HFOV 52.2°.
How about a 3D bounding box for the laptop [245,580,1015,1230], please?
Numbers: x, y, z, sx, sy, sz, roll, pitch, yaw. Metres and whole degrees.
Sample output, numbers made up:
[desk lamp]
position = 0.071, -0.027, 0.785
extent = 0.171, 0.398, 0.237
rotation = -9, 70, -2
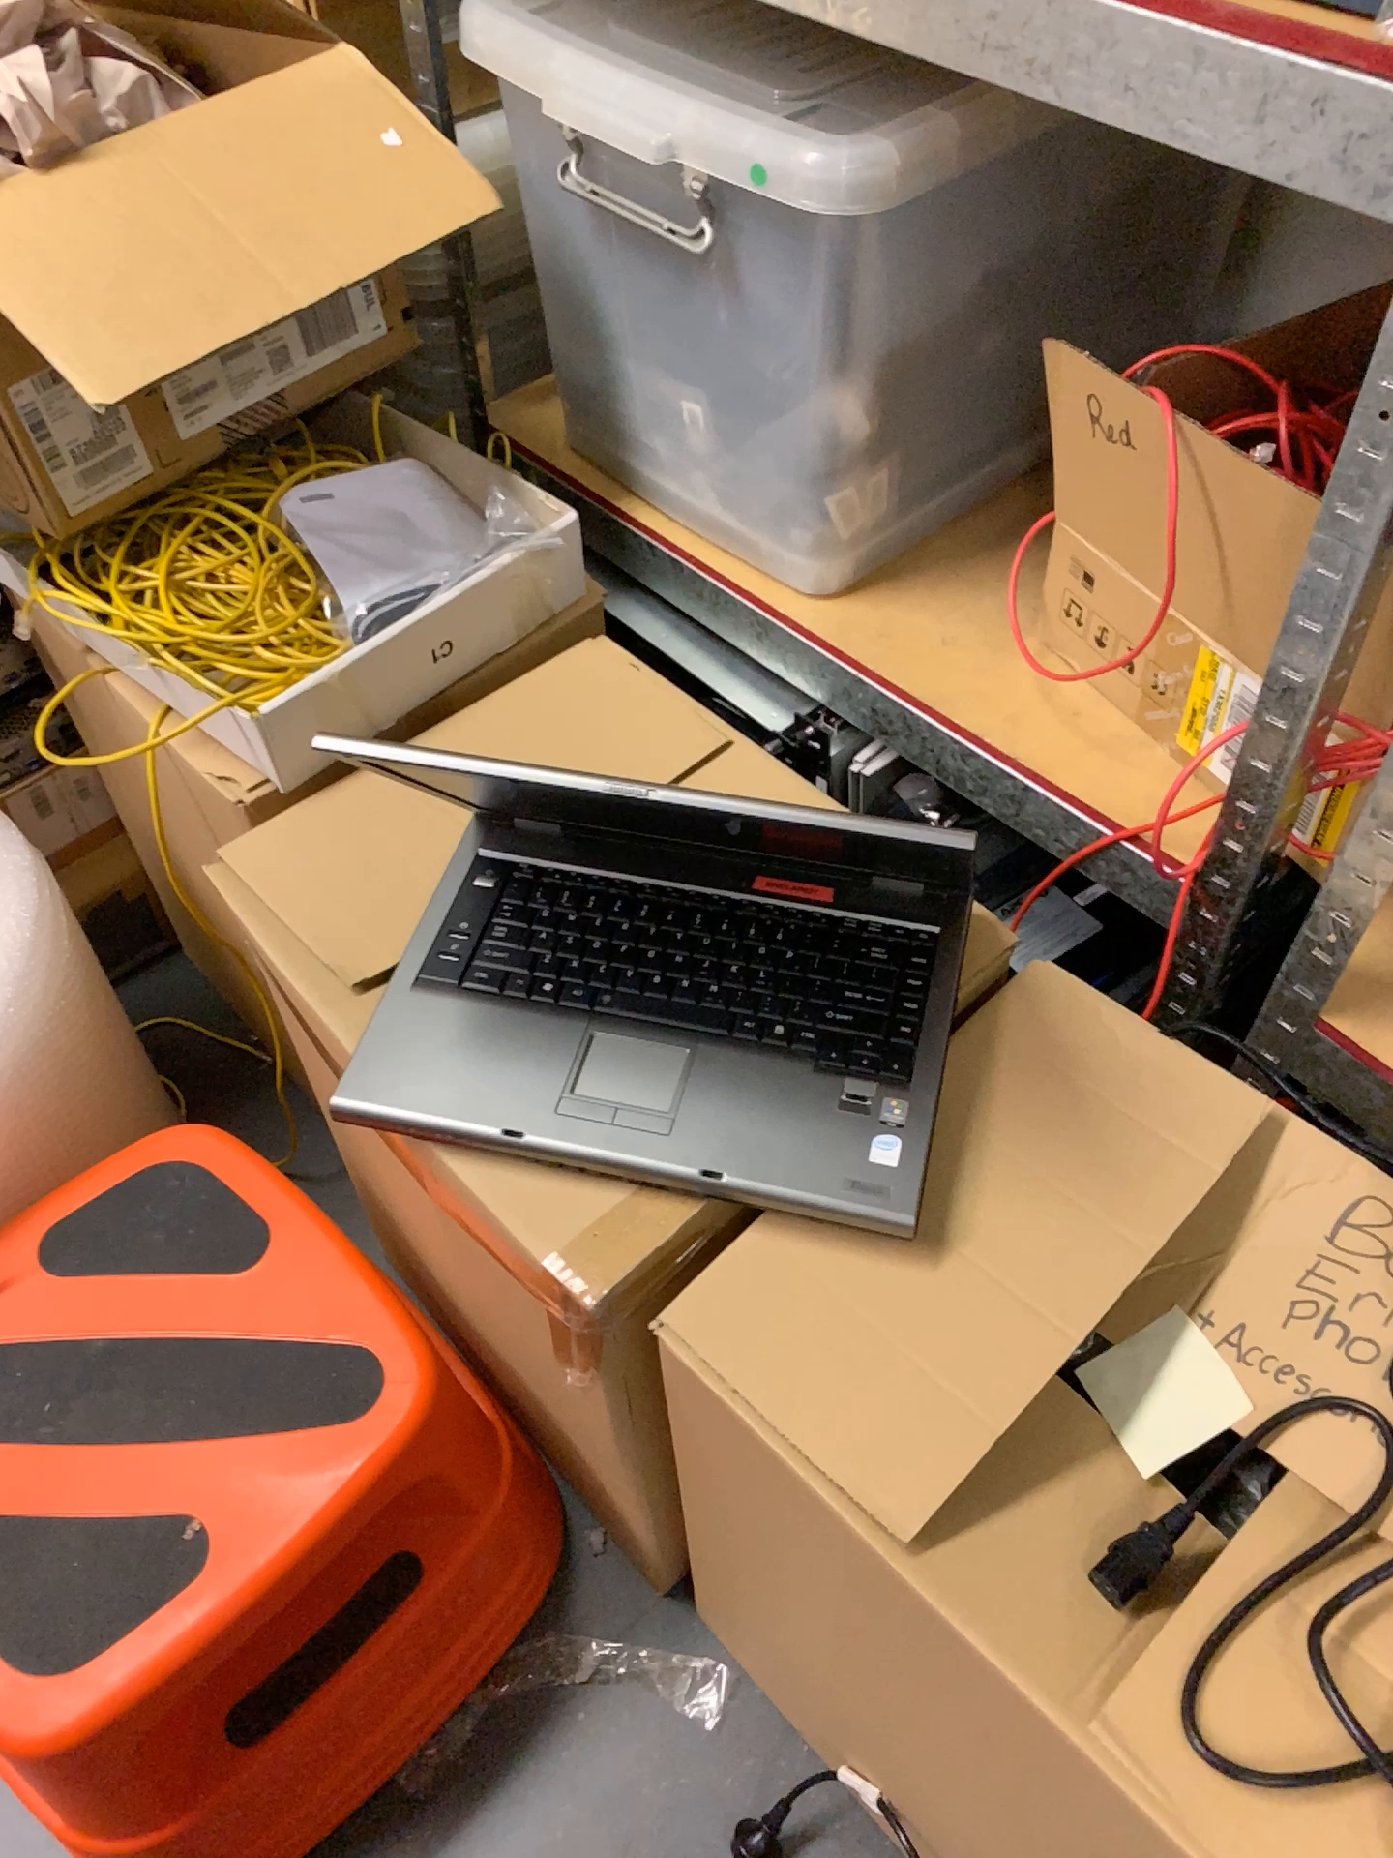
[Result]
[laptop]
position = -0.021, -0.023, 0.824
extent = 0.352, 0.203, 0.253
rotation = 10, 51, 12
